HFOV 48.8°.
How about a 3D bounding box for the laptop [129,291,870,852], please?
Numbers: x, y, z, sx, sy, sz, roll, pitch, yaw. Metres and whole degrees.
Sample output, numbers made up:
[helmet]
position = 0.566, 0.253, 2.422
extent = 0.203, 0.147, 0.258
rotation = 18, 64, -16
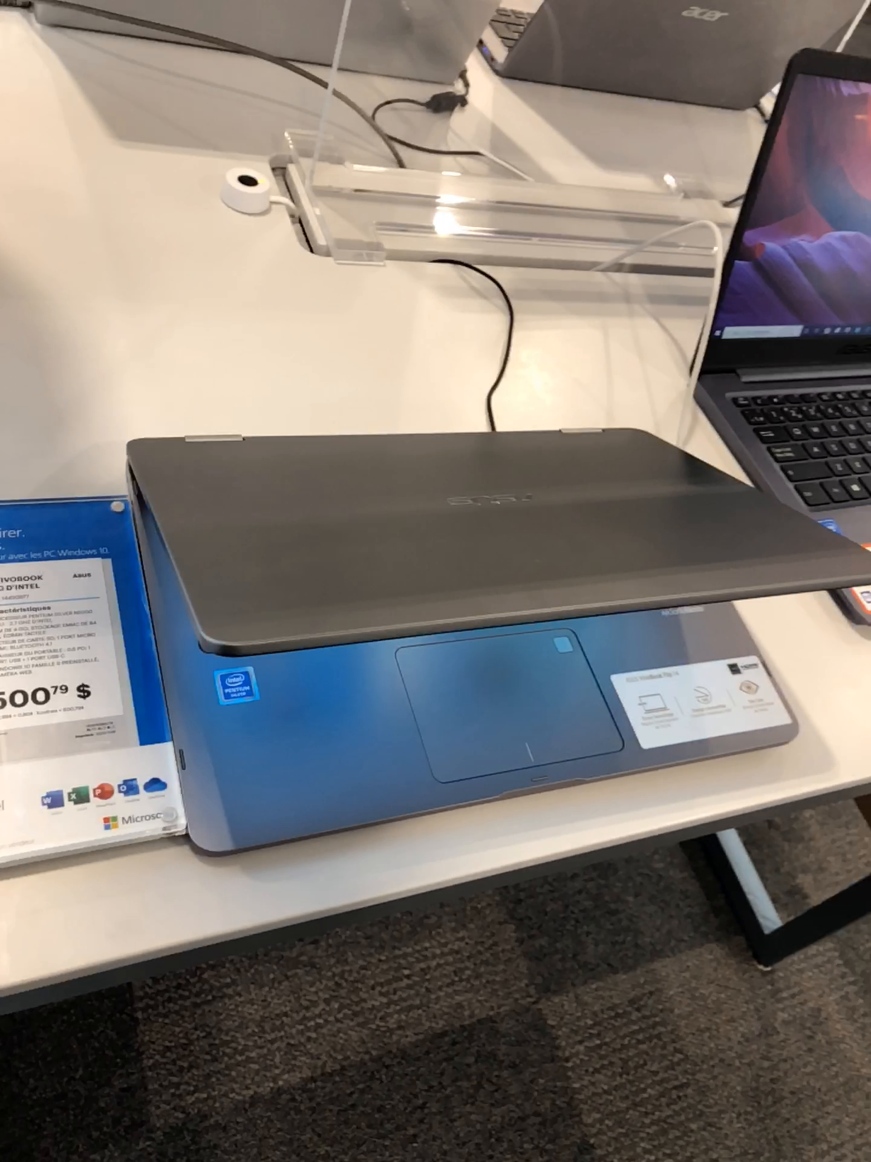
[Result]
[laptop]
position = 0.036, -0.022, 0.463
extent = 0.322, 0.105, 0.215
rotation = -5, 55, -23
